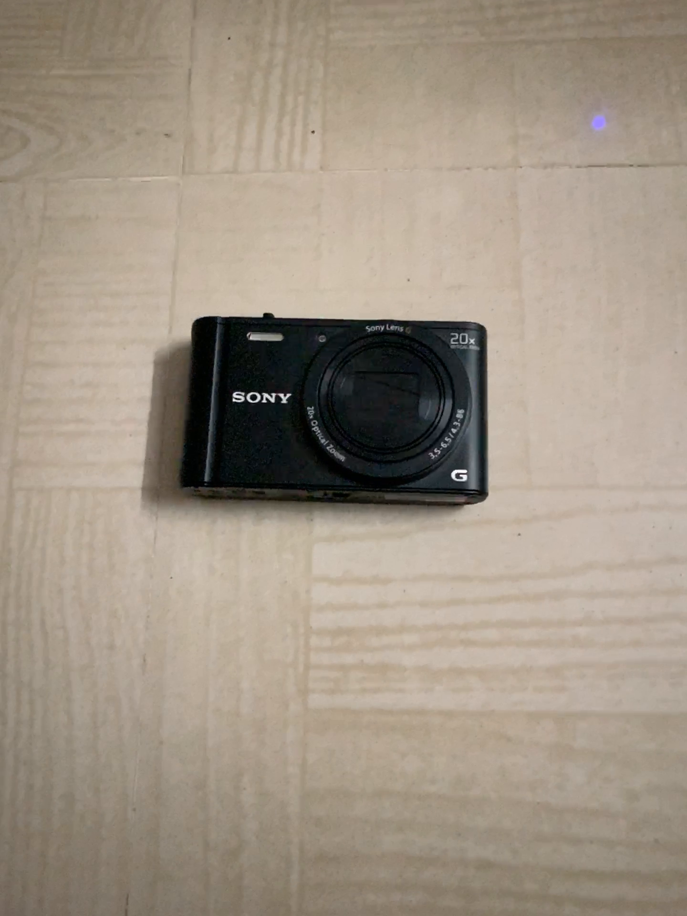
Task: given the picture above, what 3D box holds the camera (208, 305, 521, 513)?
[{"bbox_3d":[0.007,-0.015,0.226,0.092,0.025,0.060,2,78,4],"label":"camera"}]
